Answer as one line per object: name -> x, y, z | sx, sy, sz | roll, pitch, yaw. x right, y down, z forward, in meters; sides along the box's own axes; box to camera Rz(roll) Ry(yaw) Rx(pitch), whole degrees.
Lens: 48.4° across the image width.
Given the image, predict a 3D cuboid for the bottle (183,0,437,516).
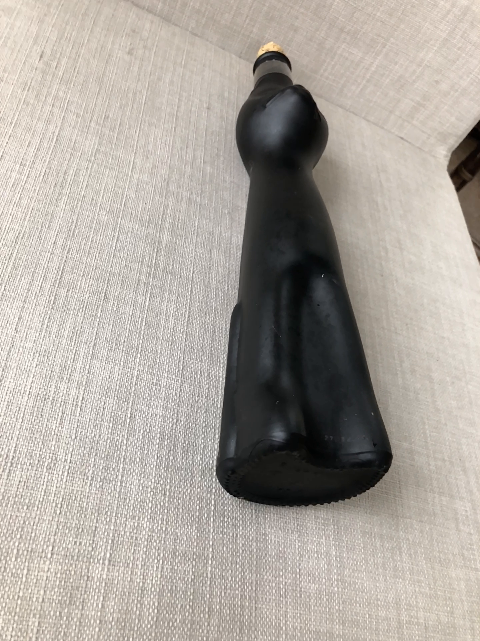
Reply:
bottle -> 0.029, -0.060, 0.313 | 0.078, 0.079, 0.312 | 16, 55, -23
